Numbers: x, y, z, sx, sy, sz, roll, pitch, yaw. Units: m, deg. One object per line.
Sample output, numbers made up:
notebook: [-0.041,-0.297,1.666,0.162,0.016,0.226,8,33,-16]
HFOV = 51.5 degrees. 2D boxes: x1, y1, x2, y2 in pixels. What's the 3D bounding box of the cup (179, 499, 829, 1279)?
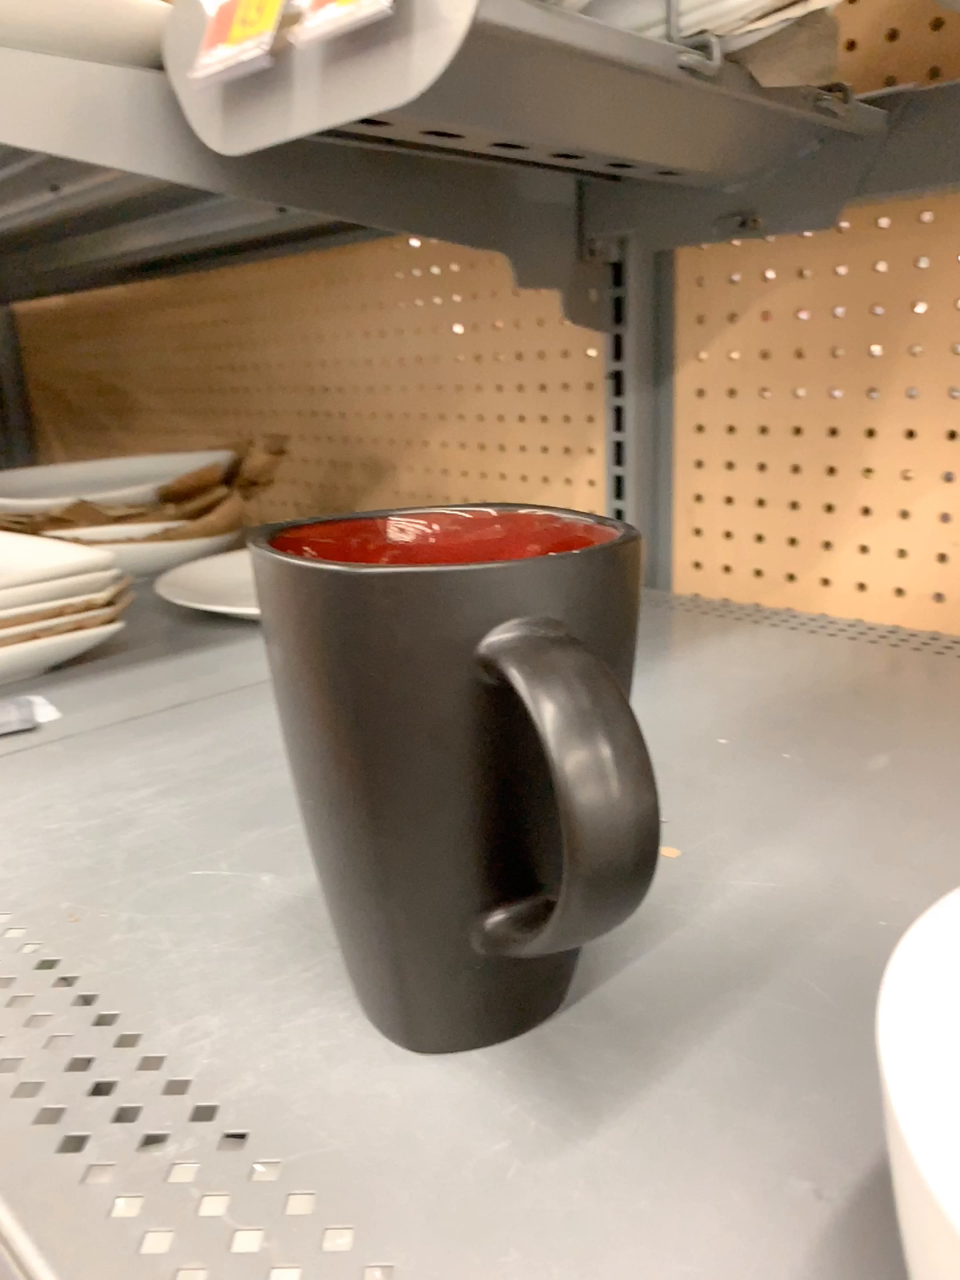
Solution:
cup: [-0.002,0.041,0.241,0.090,0.130,0.130,-11,18,-30]
